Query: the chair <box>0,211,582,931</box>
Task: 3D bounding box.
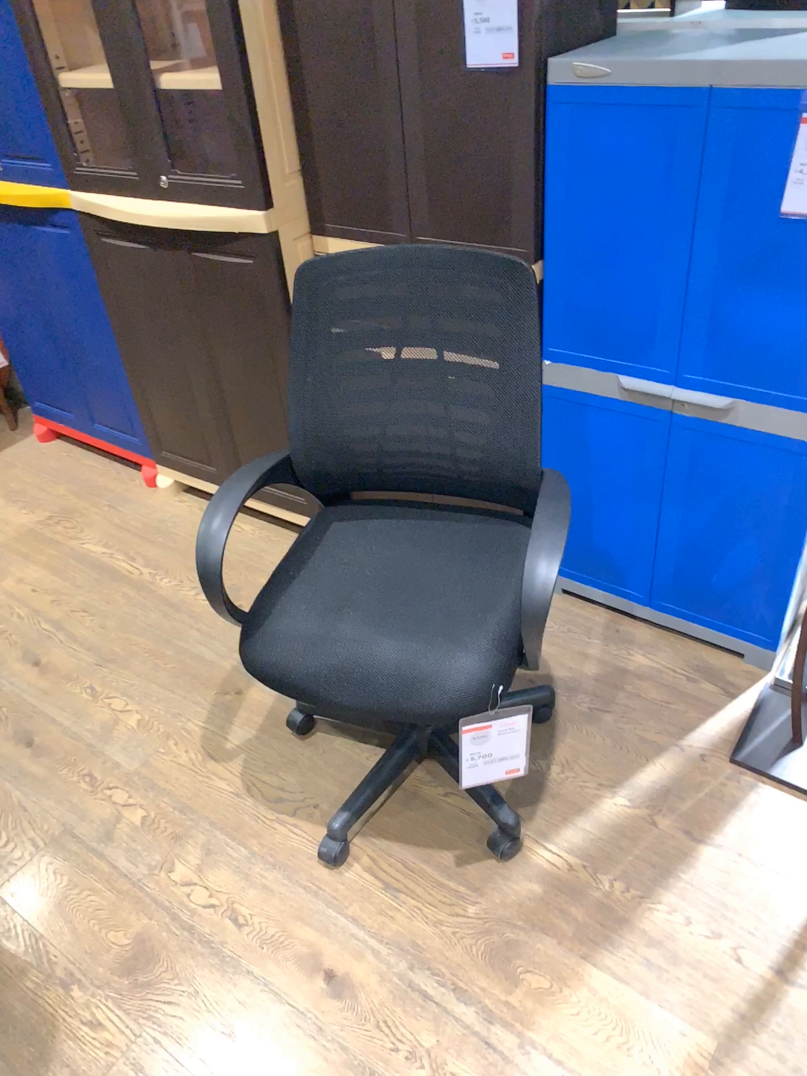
[{"bbox_3d":[-0.062,0.048,1.401,0.601,0.996,0.602,7,38,18],"label":"chair"}]
